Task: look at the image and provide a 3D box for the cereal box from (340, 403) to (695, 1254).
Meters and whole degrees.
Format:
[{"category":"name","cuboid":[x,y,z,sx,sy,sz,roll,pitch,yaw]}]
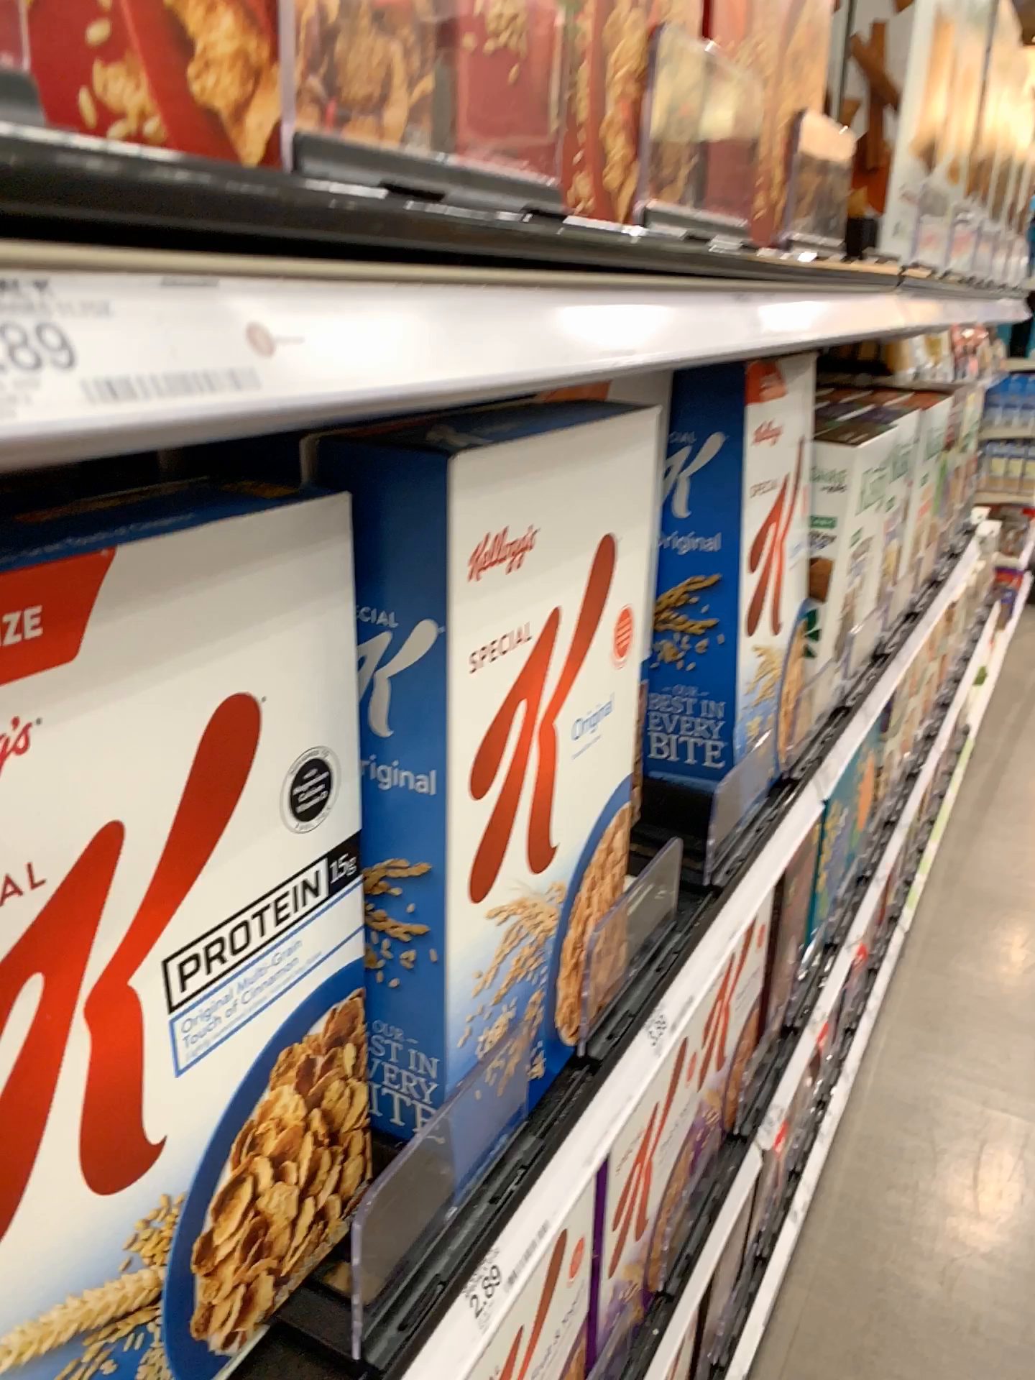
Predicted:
[{"category":"cereal box","cuboid":[0.009,0.046,0.472,0.060,0.319,0.191,11,22,25]}]
